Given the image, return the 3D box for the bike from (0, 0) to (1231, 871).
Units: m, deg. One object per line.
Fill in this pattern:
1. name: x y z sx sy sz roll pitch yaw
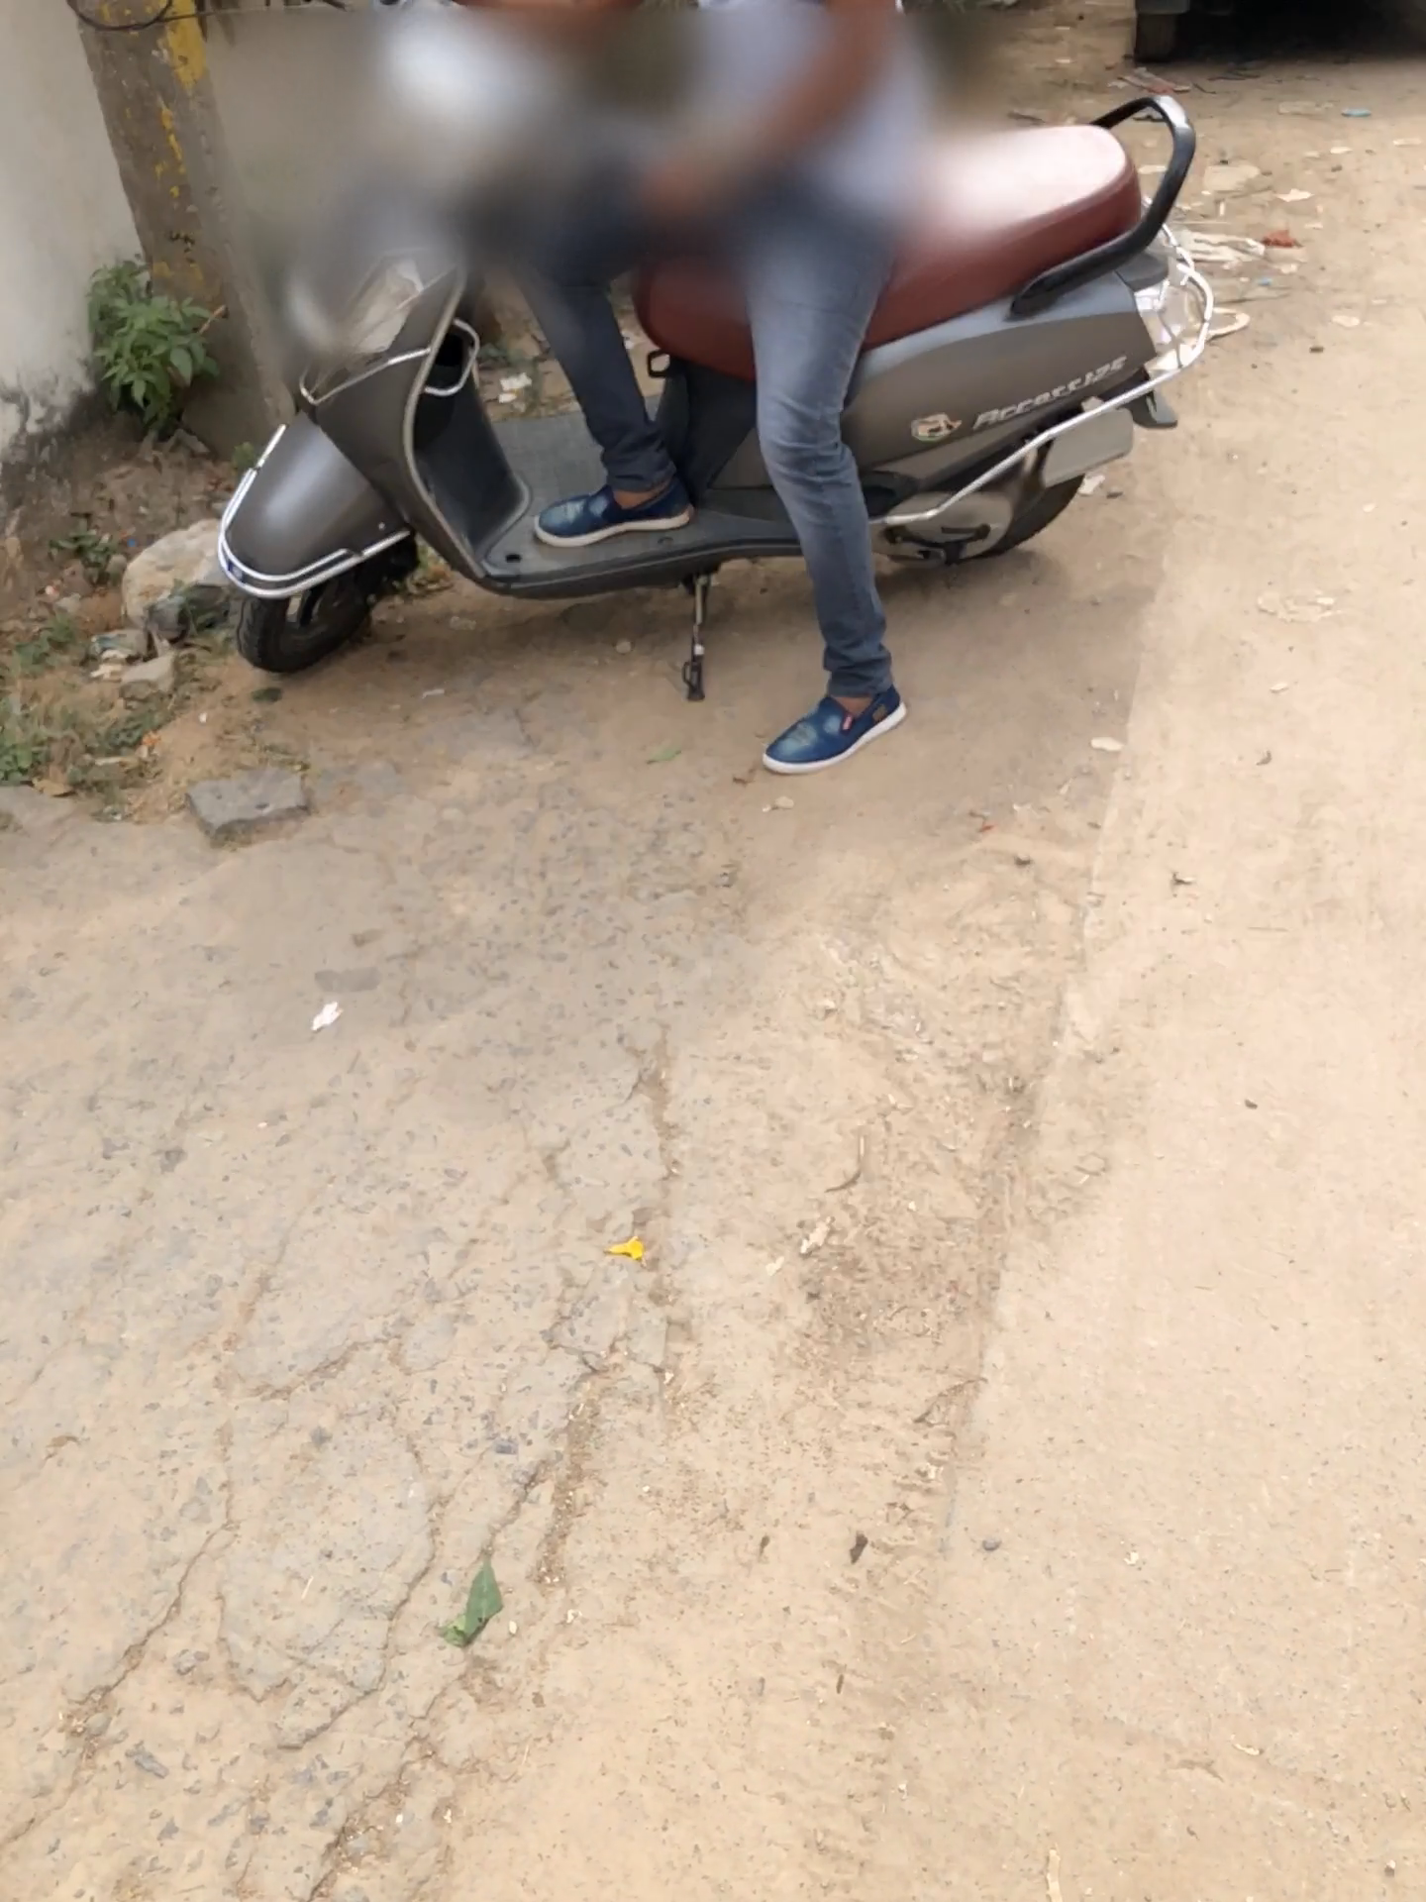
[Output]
1. bike: -0.062 -0.932 2.360 1.499 1.195 0.613 -15 37 -12
